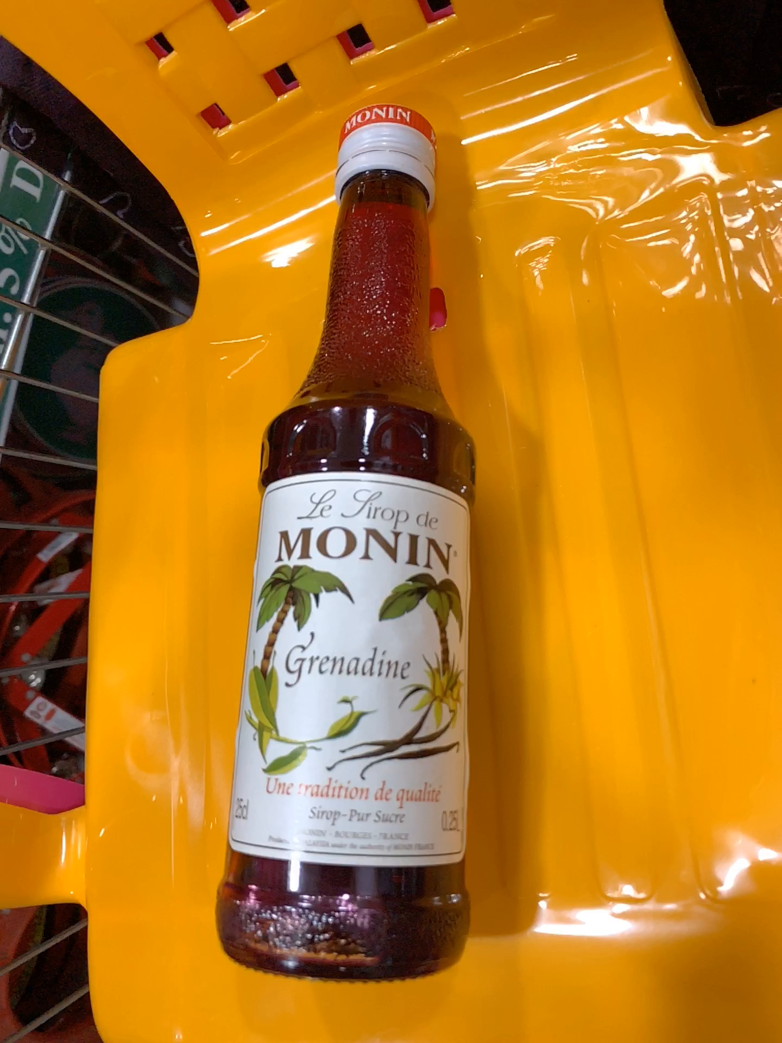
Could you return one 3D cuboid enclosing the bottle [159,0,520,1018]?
[{"bbox_3d":[-0.006,-0.023,0.197,0.060,0.050,0.240,5,73,-6],"label":"bottle"}]
